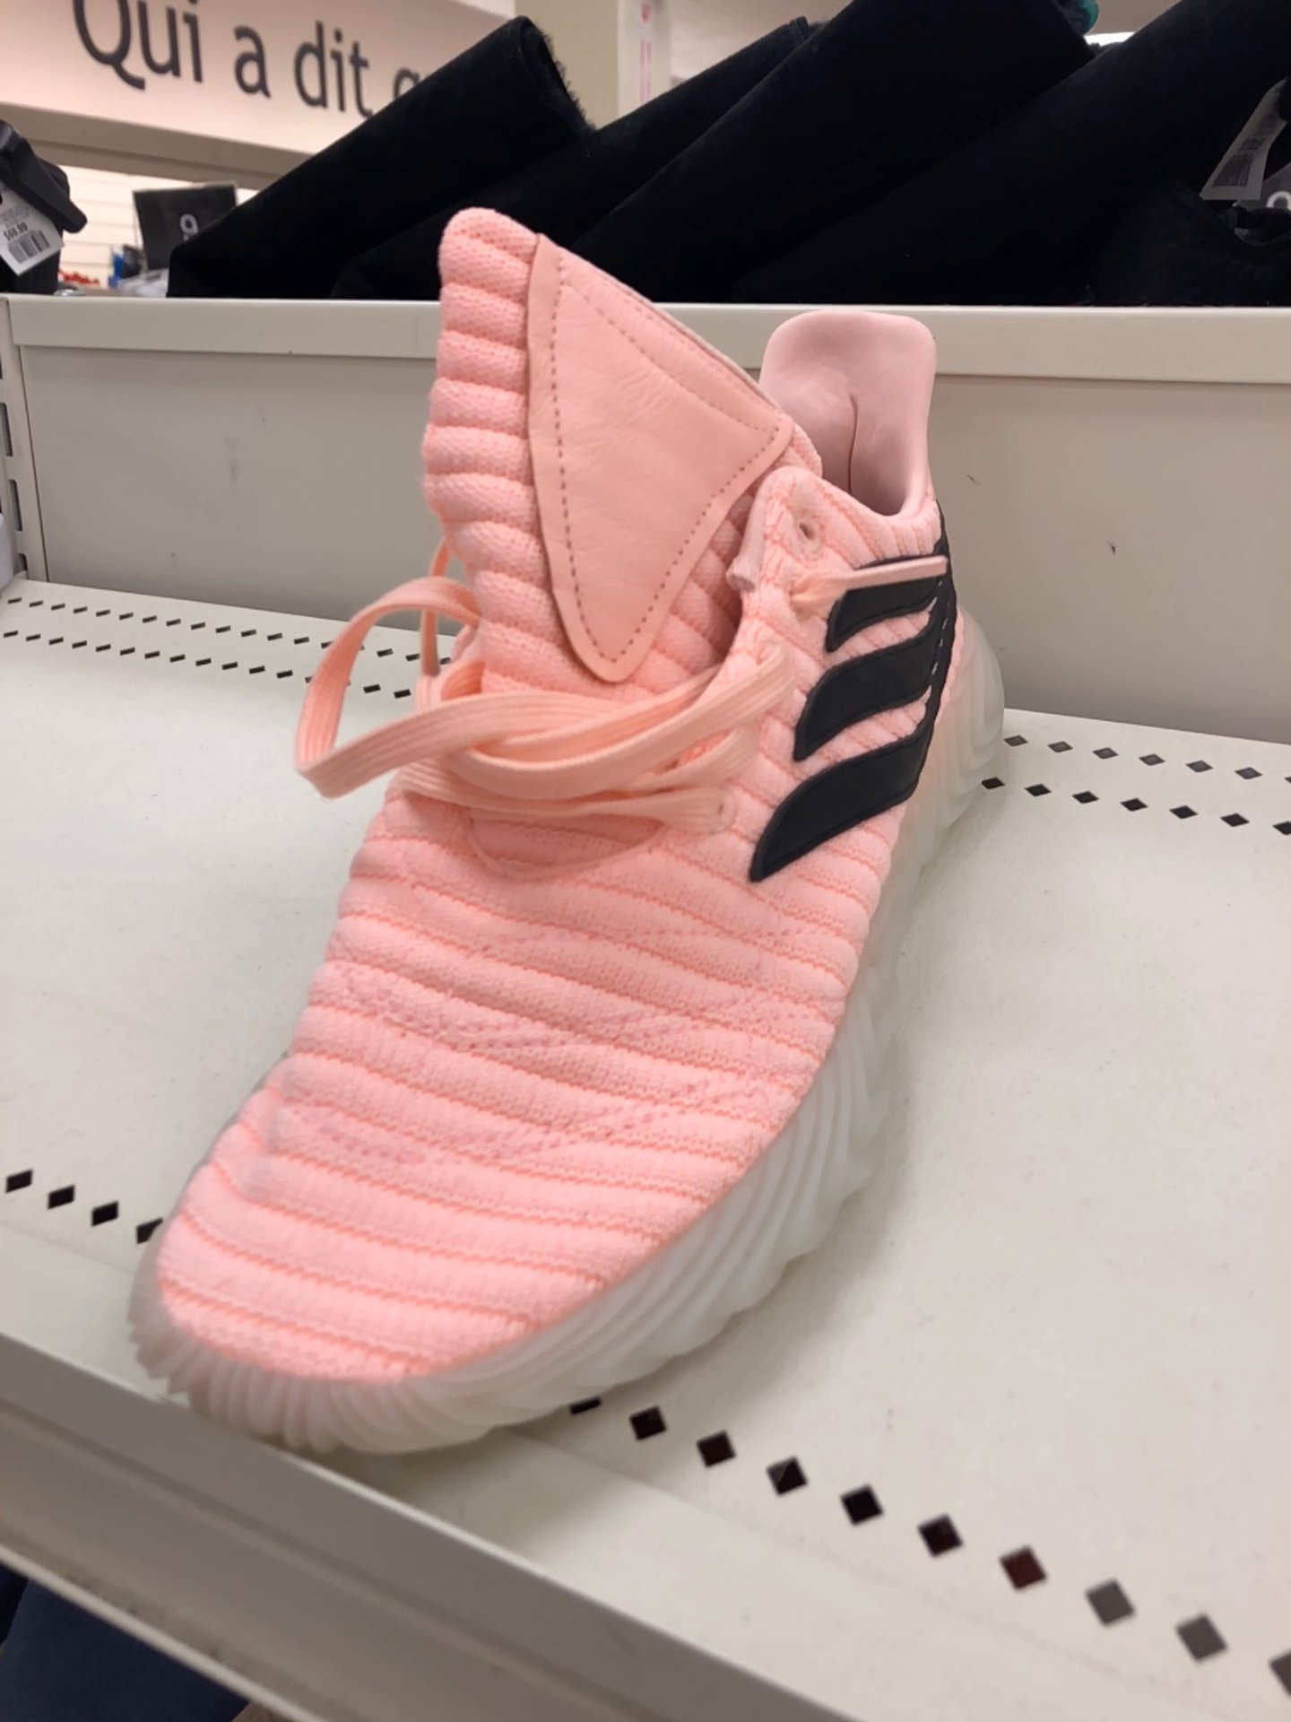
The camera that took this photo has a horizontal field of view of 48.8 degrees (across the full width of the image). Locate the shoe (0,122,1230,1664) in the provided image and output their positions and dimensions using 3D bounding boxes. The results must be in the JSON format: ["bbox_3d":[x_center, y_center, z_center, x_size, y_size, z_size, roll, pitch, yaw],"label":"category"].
[{"bbox_3d":[0.021,-0.047,0.306,0.120,0.169,0.322,12,34,29],"label":"shoe"}]
